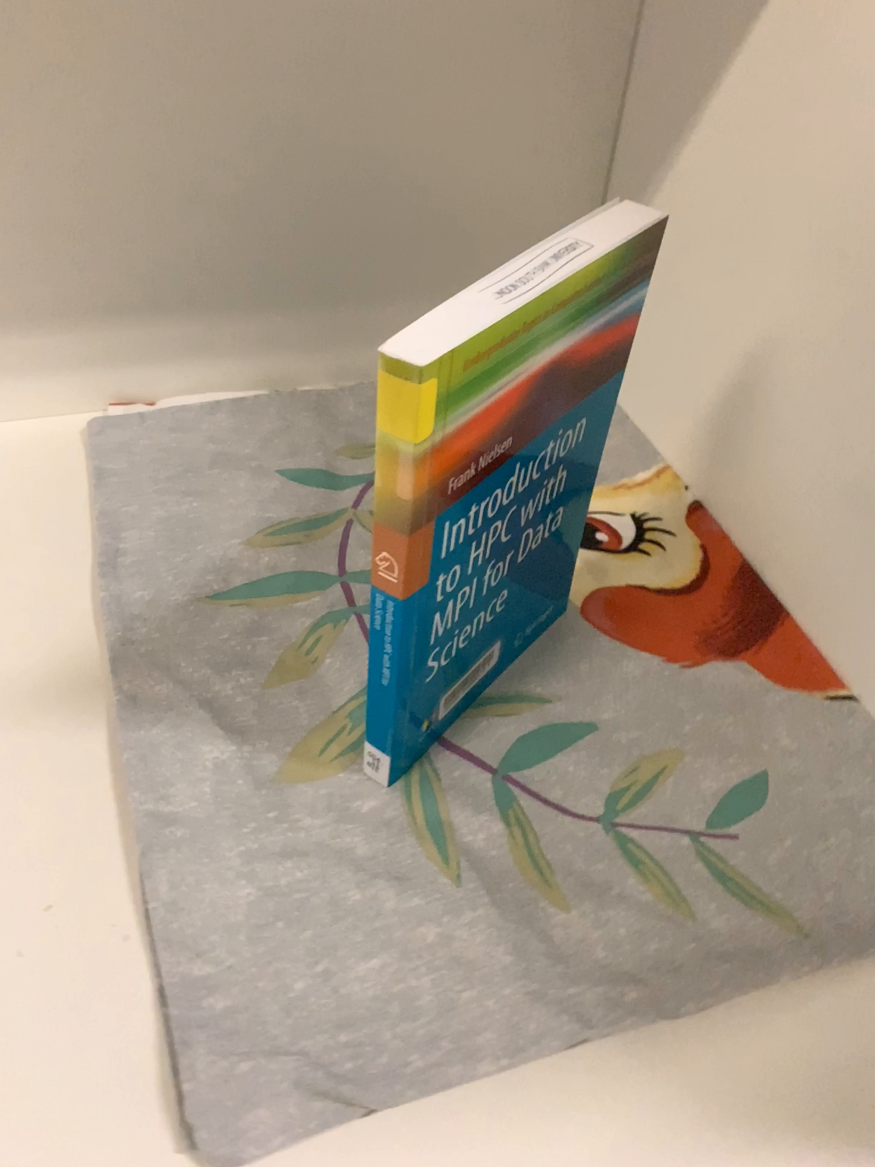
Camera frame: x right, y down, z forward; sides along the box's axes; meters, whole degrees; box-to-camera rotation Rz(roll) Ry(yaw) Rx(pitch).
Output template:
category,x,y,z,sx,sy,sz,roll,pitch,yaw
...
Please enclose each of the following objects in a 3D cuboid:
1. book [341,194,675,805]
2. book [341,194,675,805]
category,x,y,z,sx,sy,sz,roll,pitch,yaw
book,0.025,-0.029,0.399,0.030,0.228,0.171,30,50,22
book,0.025,-0.029,0.399,0.030,0.228,0.171,30,50,22
